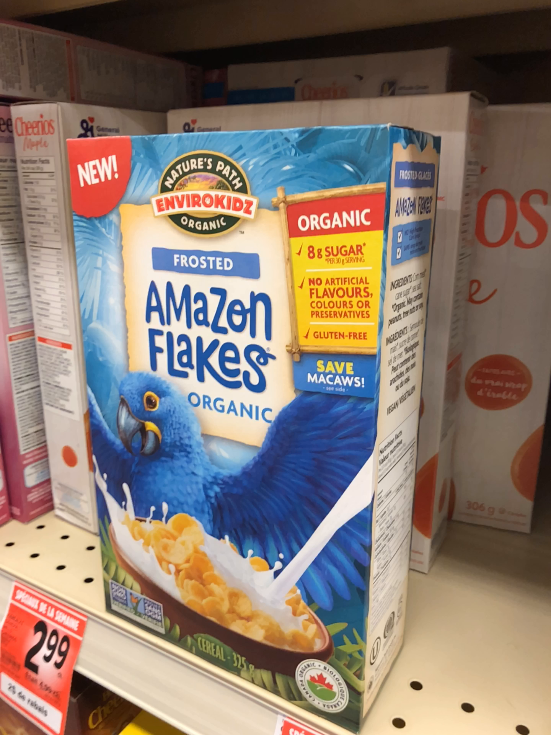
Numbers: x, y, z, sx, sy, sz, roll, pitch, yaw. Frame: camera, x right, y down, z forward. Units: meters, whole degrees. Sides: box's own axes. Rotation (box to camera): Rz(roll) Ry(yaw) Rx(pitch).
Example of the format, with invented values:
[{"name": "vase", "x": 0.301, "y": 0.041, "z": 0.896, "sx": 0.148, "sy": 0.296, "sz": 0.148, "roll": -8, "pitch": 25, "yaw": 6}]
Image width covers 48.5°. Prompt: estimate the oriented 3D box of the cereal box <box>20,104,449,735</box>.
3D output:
[{"name": "cereal box", "x": -0.023, "y": 0.023, "z": 0.277, "sx": 0.170, "sy": 0.249, "sz": 0.050, "roll": 10, "pitch": 20, "yaw": 30}]
